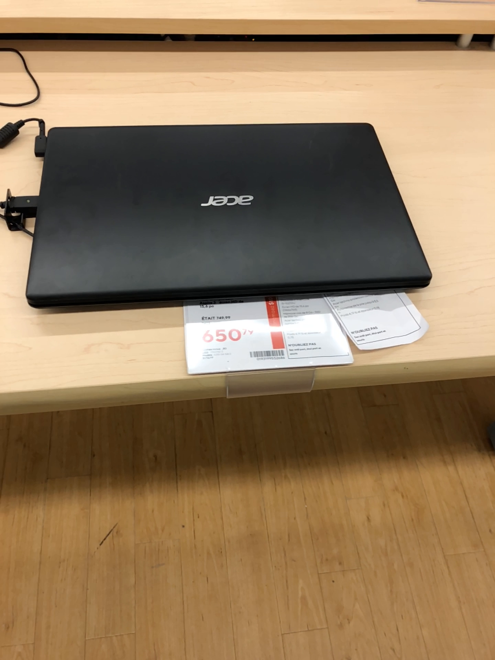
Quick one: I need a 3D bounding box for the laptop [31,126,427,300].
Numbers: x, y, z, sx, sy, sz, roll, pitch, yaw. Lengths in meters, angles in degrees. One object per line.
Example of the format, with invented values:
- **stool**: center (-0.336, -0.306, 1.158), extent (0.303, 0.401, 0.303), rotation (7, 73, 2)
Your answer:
- **laptop**: center (-0.019, -0.127, 0.530), extent (0.346, 0.003, 0.213), rotation (-4, 57, -9)
